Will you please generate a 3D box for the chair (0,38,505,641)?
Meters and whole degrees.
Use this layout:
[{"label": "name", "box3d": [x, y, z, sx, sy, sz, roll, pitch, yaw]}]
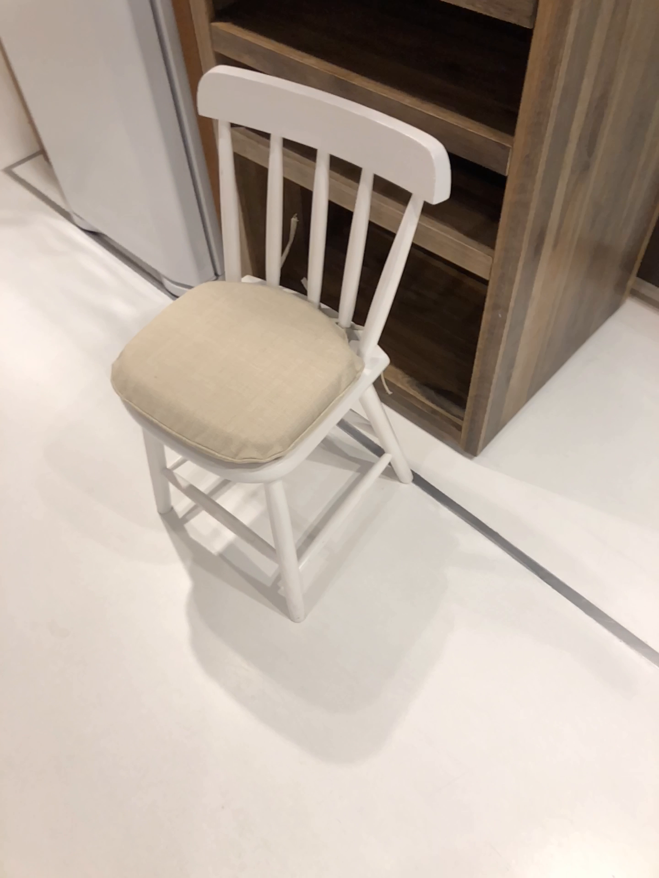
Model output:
[{"label": "chair", "box3d": [-0.094, -0.121, 1.181, 0.451, 0.726, 0.482, 33, 62, 24]}]
